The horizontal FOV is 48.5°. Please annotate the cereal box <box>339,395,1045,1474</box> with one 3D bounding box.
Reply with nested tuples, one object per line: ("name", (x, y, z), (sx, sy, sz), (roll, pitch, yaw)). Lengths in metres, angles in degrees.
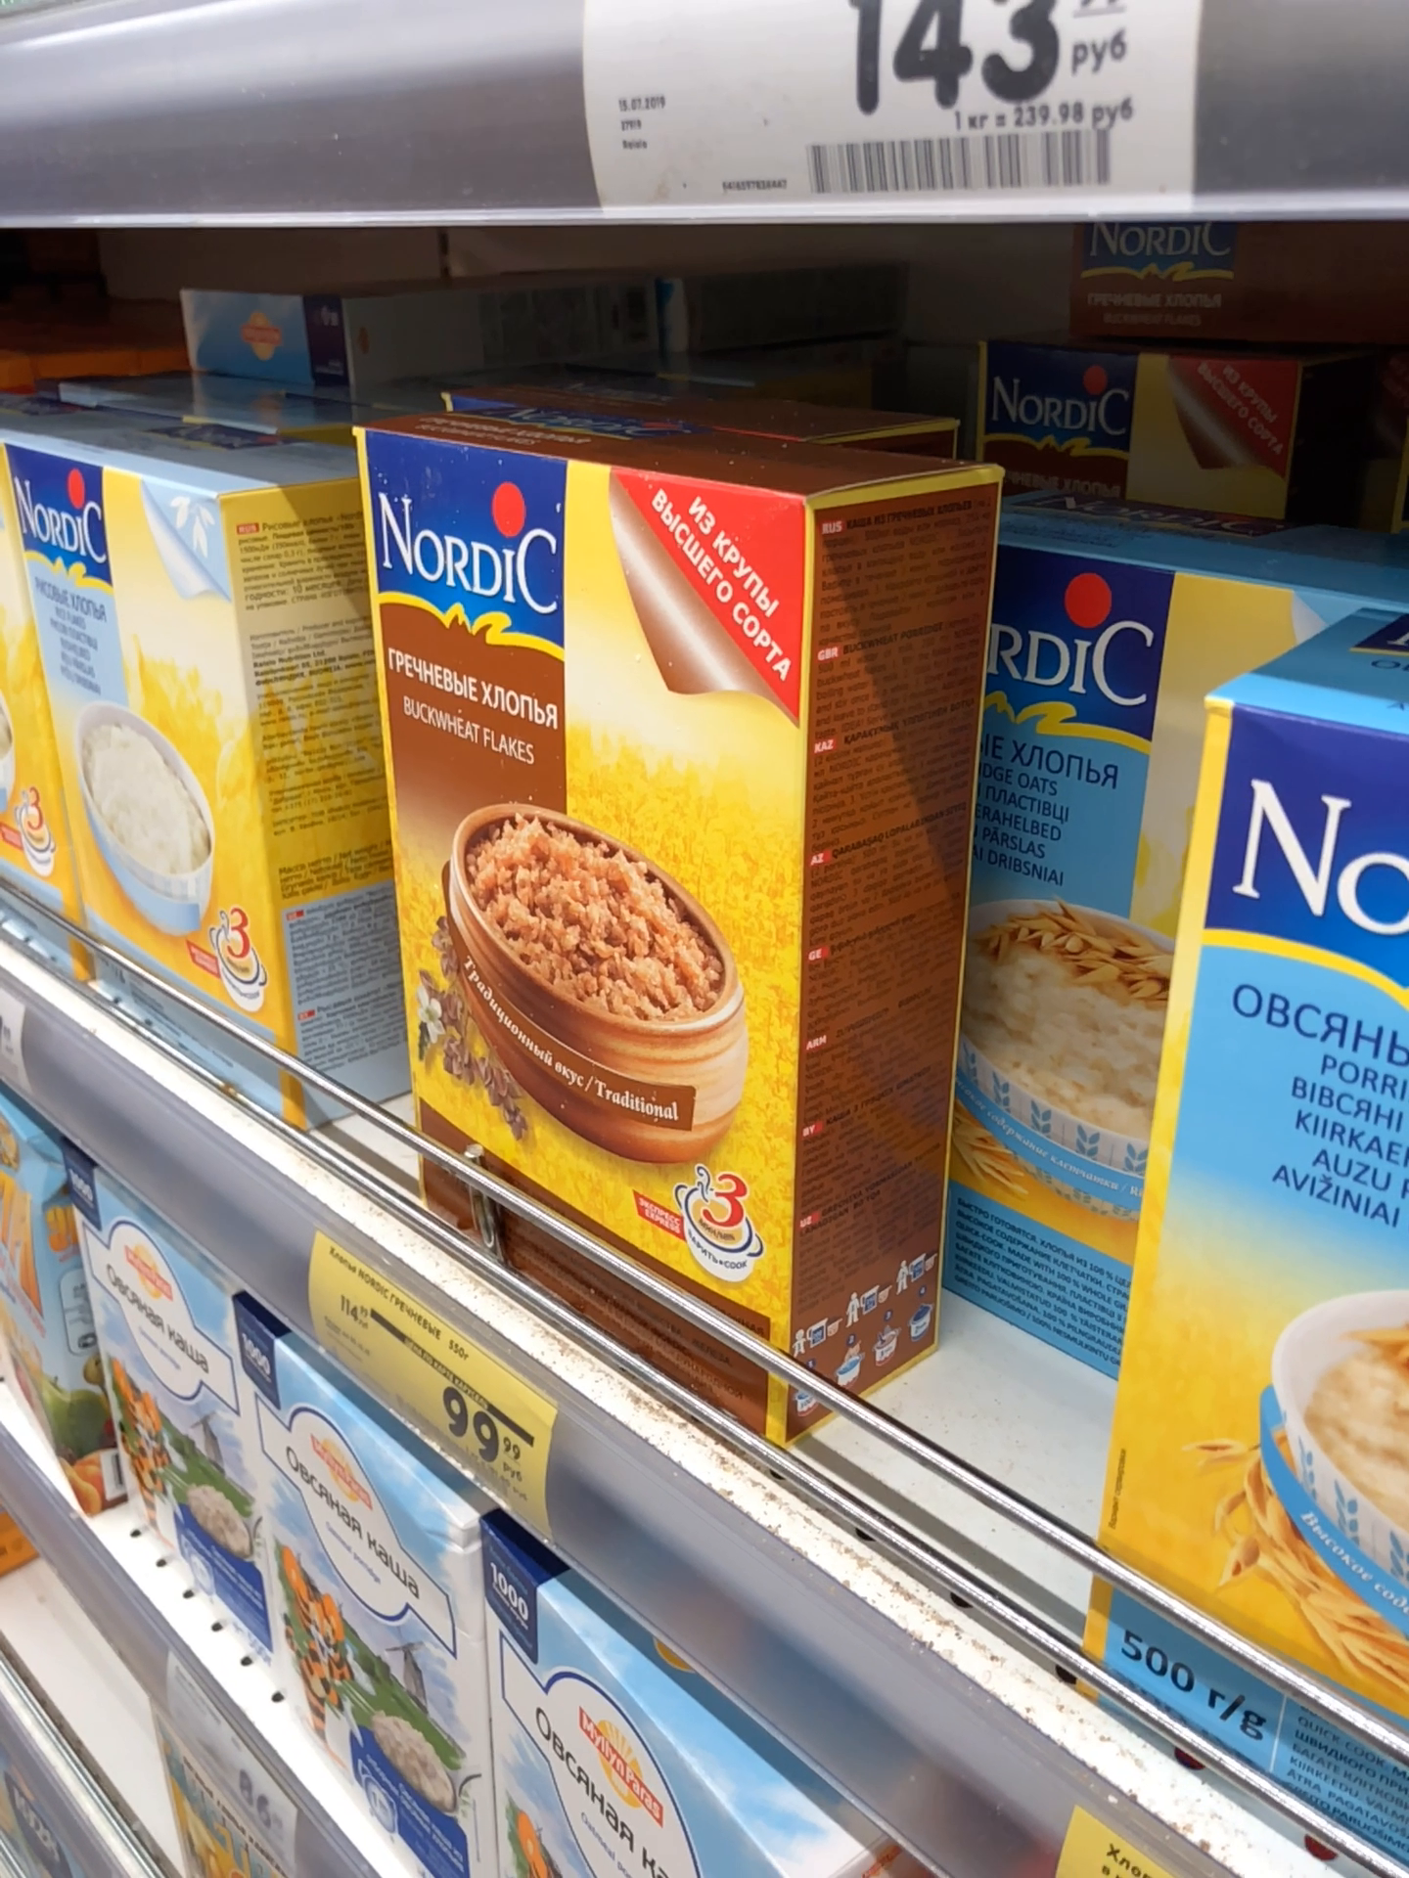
("cereal box", (-0.008, -0.011, 0.366), (0.070, 0.209, 0.140), (-20, 31, -39))
